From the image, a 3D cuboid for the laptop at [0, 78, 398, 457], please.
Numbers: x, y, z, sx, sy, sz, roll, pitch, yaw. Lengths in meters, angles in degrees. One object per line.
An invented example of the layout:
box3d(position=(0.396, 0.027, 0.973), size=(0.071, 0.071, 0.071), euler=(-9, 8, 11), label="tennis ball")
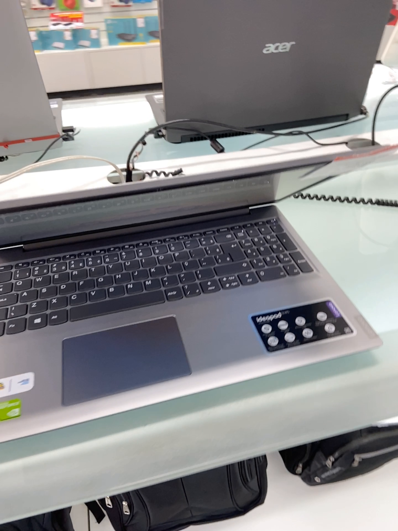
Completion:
box3d(position=(-0.042, -0.034, 0.371), size=(0.362, 0.160, 0.246), euler=(-11, 40, -11), label="laptop")
